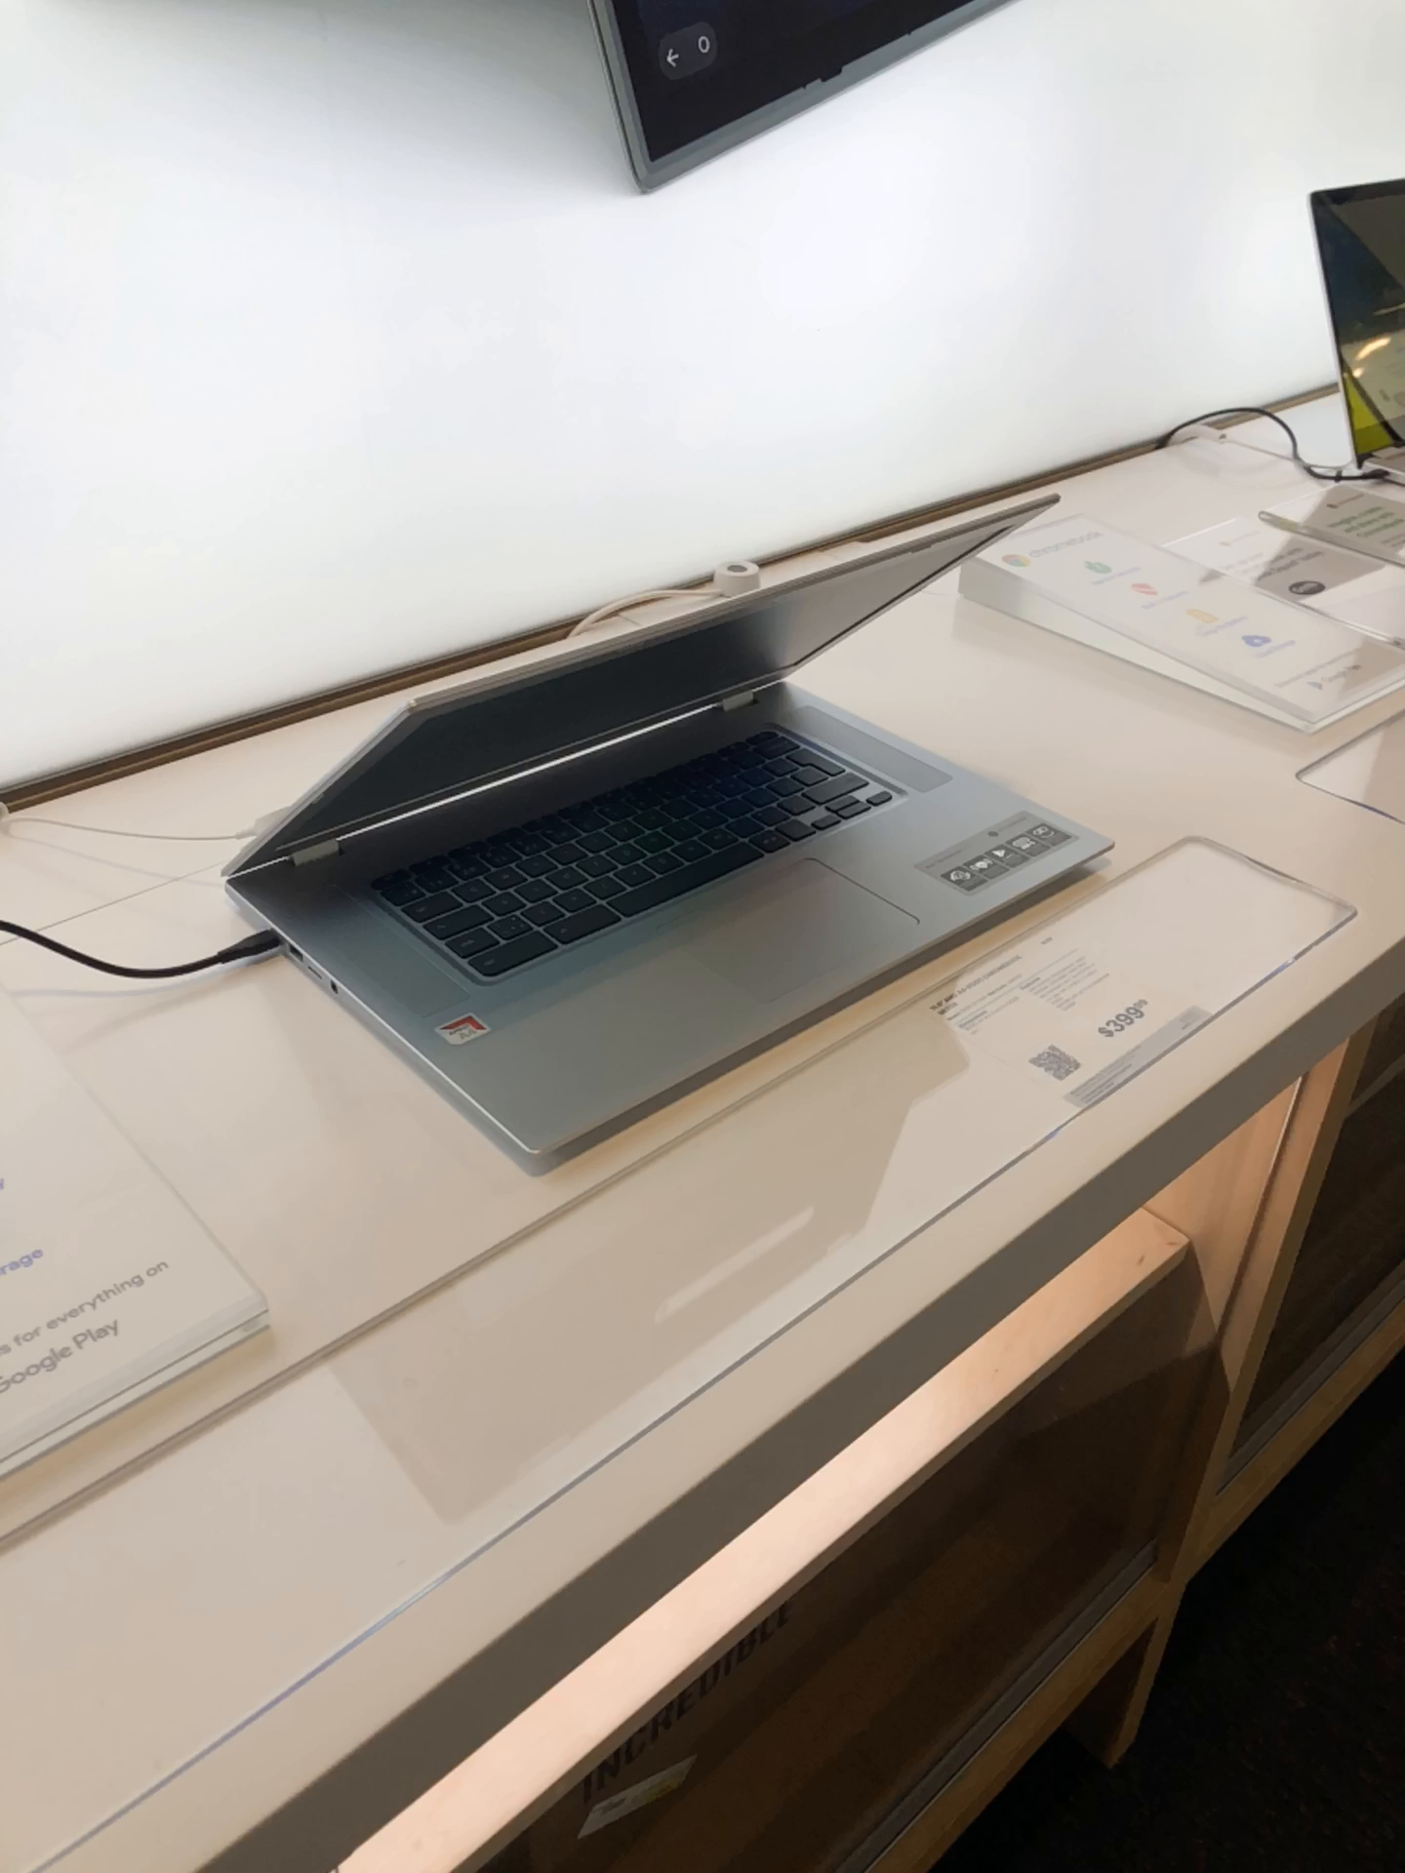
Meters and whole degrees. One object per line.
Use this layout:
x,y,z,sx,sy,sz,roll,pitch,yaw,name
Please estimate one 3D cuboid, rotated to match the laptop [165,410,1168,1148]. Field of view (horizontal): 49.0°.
-0.011,-0.108,0.728,0.368,0.166,0.255,-25,42,-34,laptop
